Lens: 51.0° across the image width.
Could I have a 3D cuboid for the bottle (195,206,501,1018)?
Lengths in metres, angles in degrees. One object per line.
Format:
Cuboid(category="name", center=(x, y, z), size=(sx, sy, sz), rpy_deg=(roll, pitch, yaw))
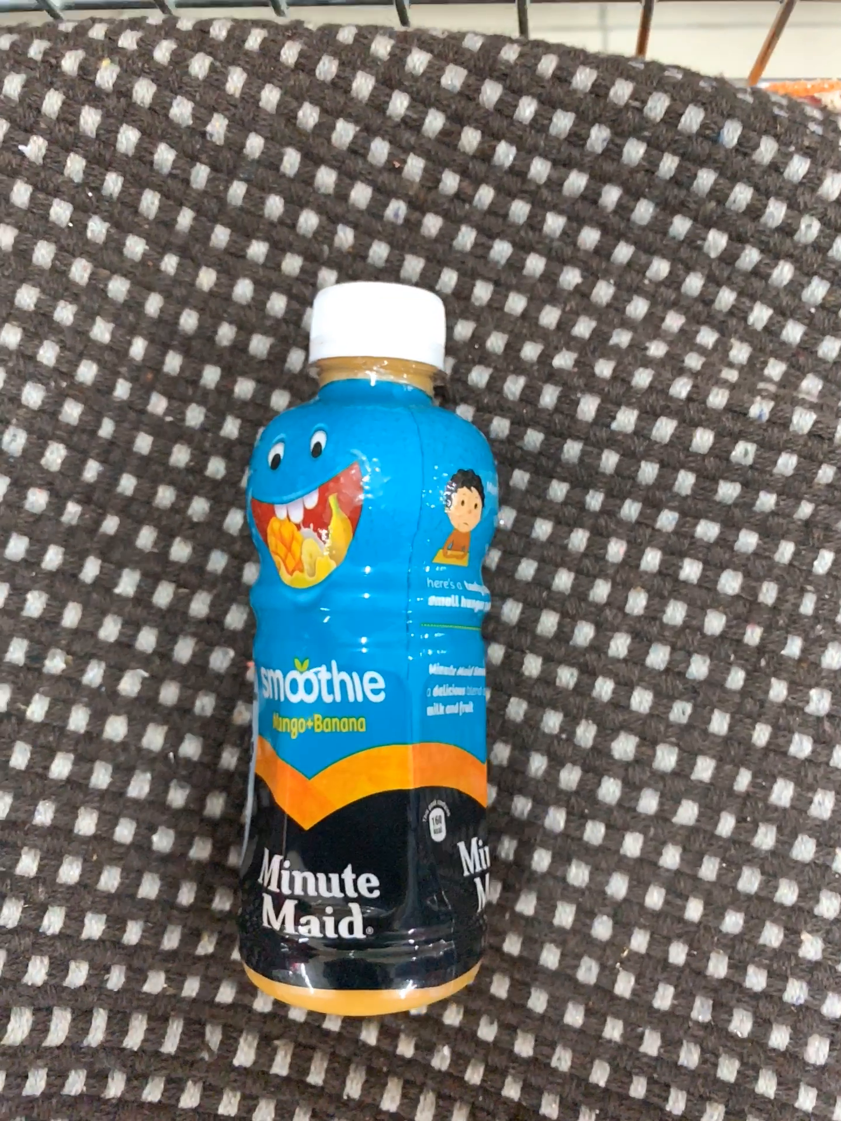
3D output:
Cuboid(category="bottle", center=(-0.014, 0.010, 0.194), size=(0.060, 0.040, 0.160), rpy_deg=(0, 89, 0))
